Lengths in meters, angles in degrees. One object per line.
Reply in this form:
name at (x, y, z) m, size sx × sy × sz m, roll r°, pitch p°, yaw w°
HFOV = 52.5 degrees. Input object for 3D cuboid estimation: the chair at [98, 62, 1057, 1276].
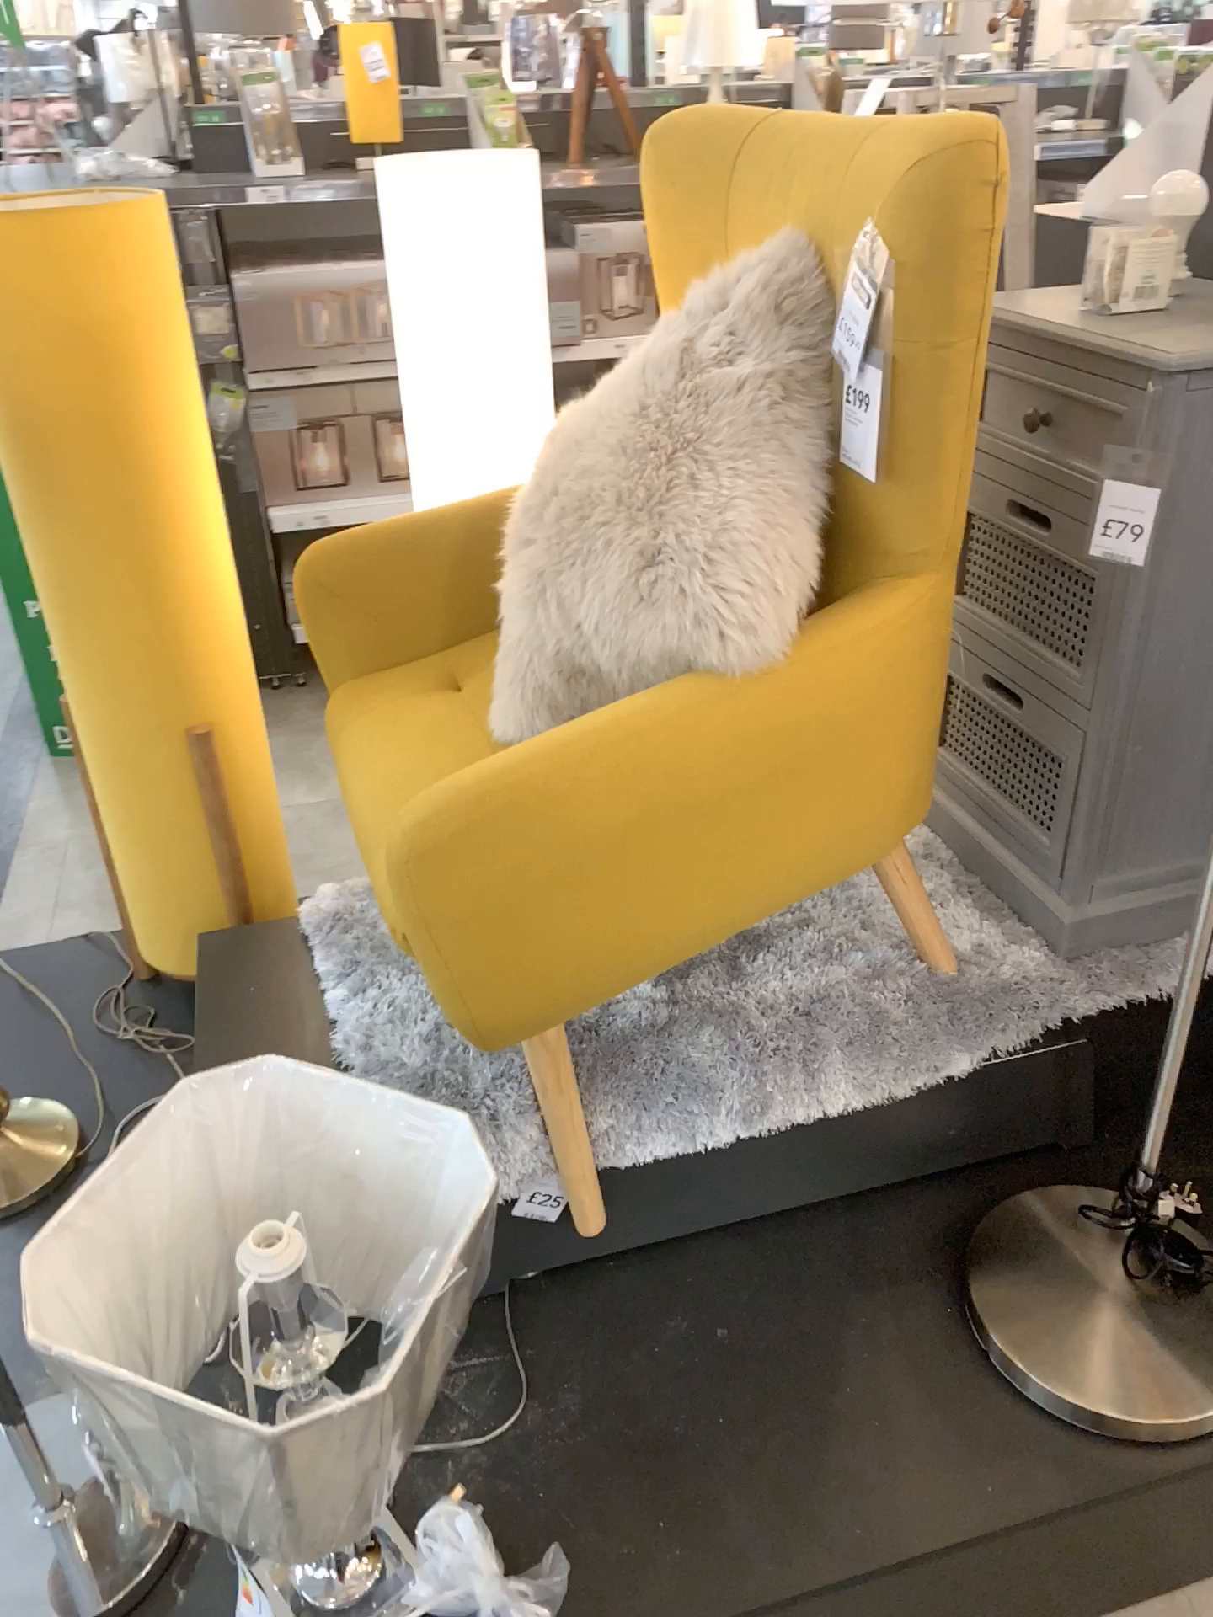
chair at (0.009, -0.165, 1.375) m, size 0.711 × 1.020 × 0.595 m, roll -19°, pitch 33°, yaw -9°
